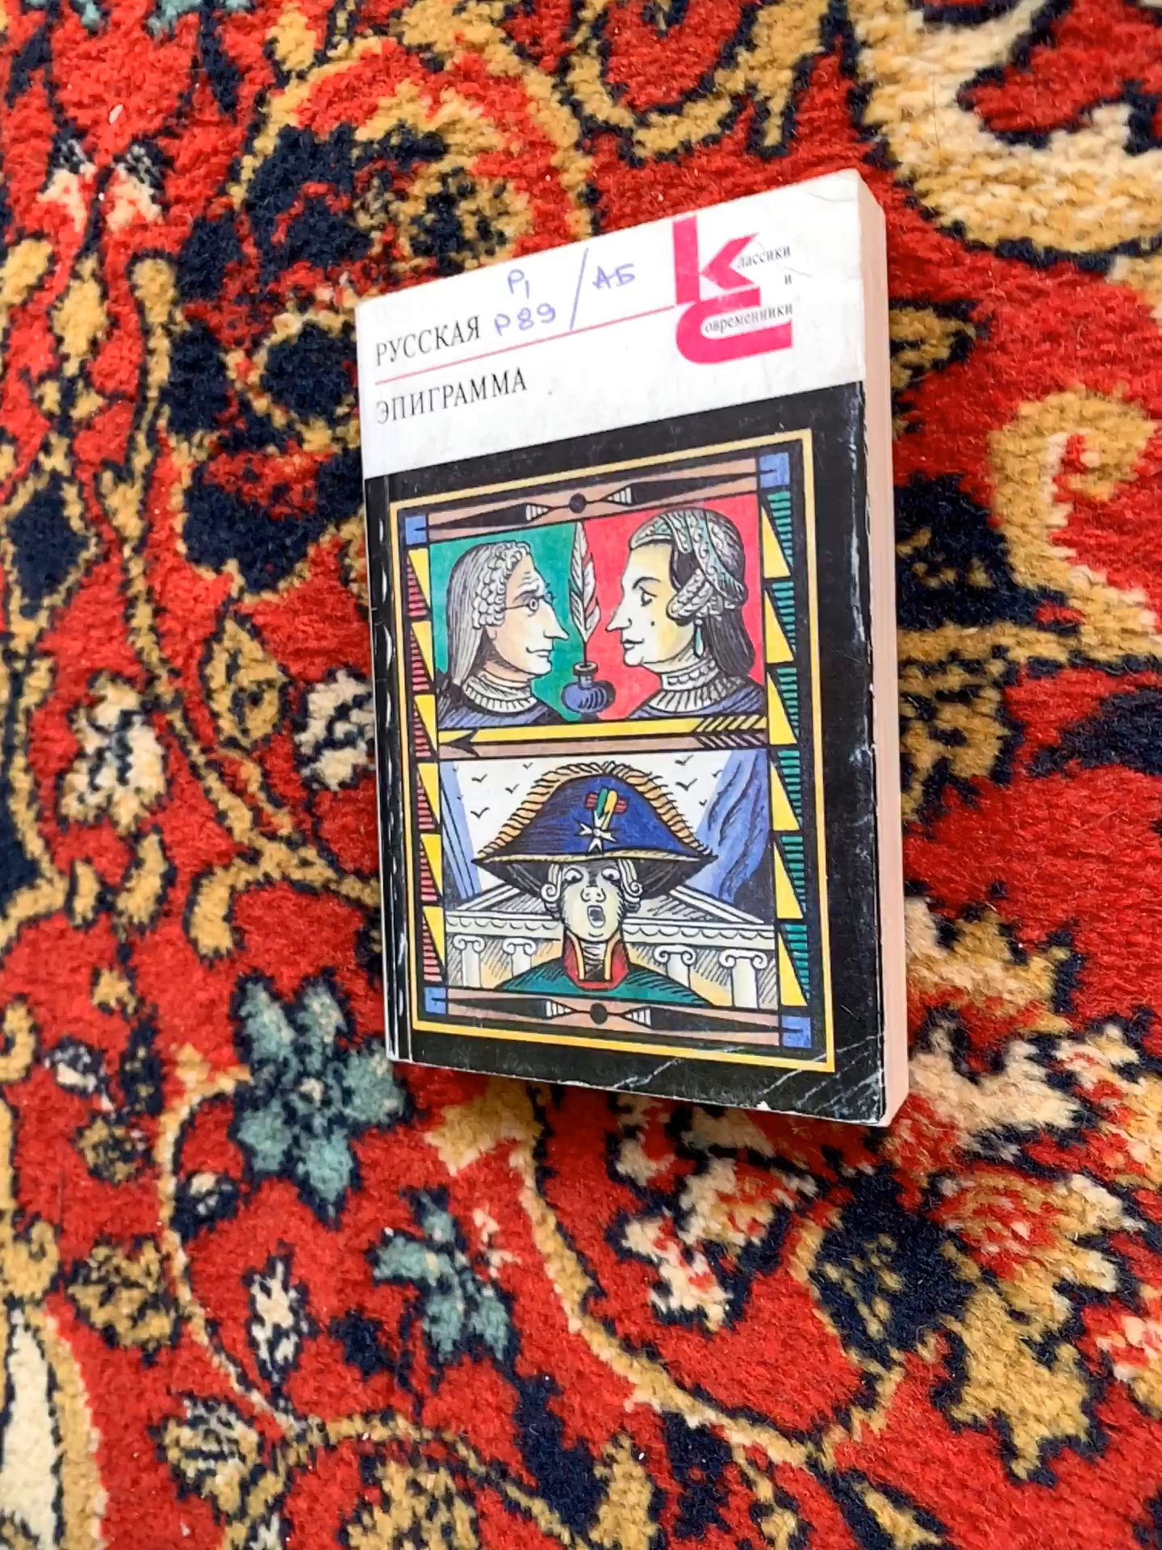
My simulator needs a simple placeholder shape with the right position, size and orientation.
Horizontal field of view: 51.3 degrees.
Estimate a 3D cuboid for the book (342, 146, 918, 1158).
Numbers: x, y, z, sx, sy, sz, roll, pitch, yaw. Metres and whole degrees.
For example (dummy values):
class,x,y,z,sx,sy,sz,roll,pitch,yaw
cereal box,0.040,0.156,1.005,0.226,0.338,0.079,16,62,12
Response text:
class,x,y,z,sx,sy,sz,roll,pitch,yaw
book,0.005,-0.019,0.233,0.110,0.022,0.163,-1,91,31
